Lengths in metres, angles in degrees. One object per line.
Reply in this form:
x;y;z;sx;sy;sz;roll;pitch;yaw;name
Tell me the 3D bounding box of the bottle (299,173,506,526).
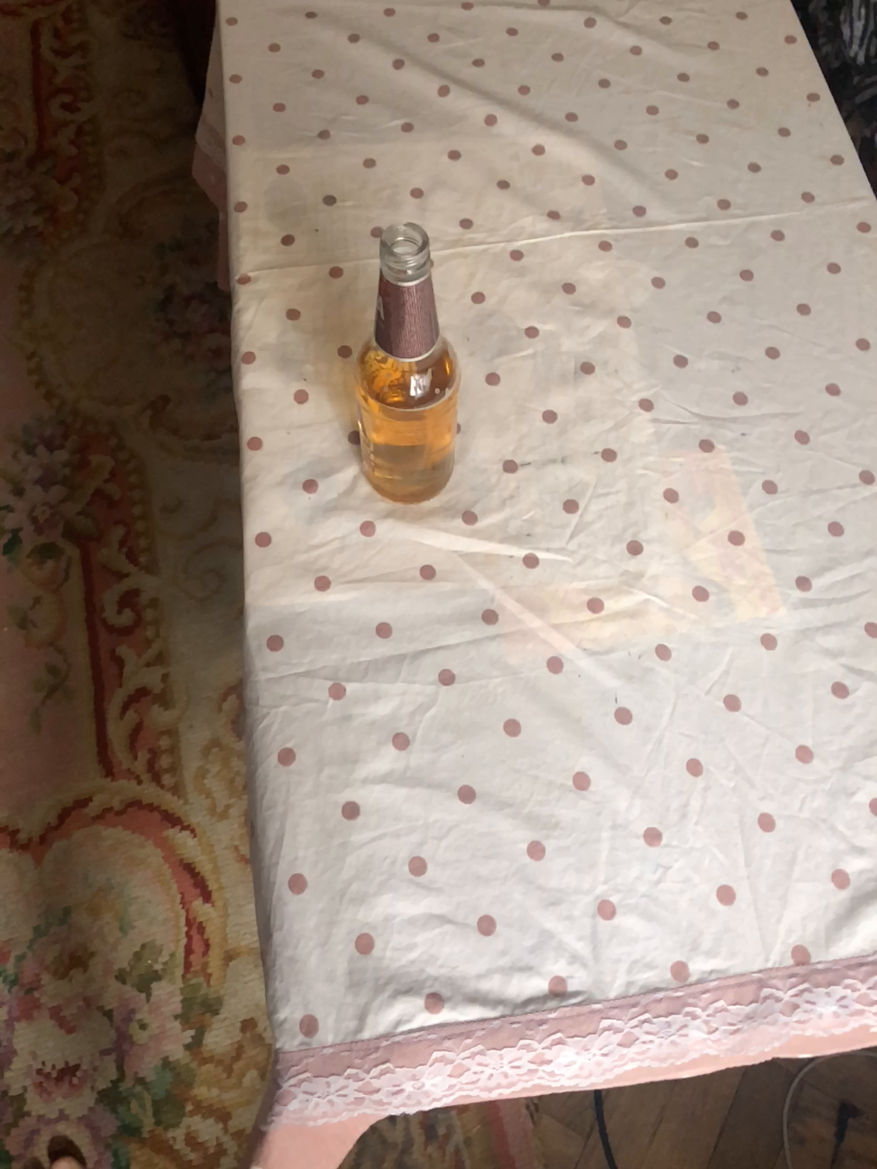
-0.023;-0.132;0.599;0.080;0.209;0.080;1;66;-2;bottle
